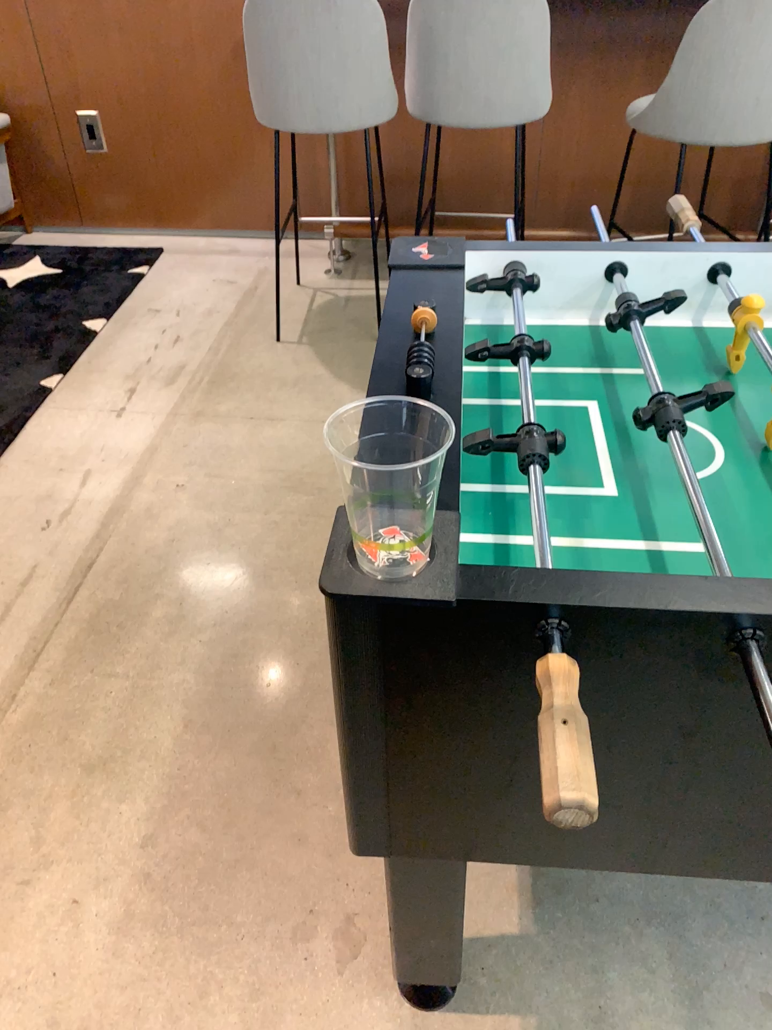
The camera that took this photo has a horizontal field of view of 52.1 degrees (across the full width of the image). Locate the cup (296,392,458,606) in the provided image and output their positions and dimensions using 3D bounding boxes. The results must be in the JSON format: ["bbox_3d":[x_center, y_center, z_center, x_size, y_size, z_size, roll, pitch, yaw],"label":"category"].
[{"bbox_3d":[-0.002,-0.014,0.612,0.100,0.119,0.101,-1,39,1],"label":"cup"}]
